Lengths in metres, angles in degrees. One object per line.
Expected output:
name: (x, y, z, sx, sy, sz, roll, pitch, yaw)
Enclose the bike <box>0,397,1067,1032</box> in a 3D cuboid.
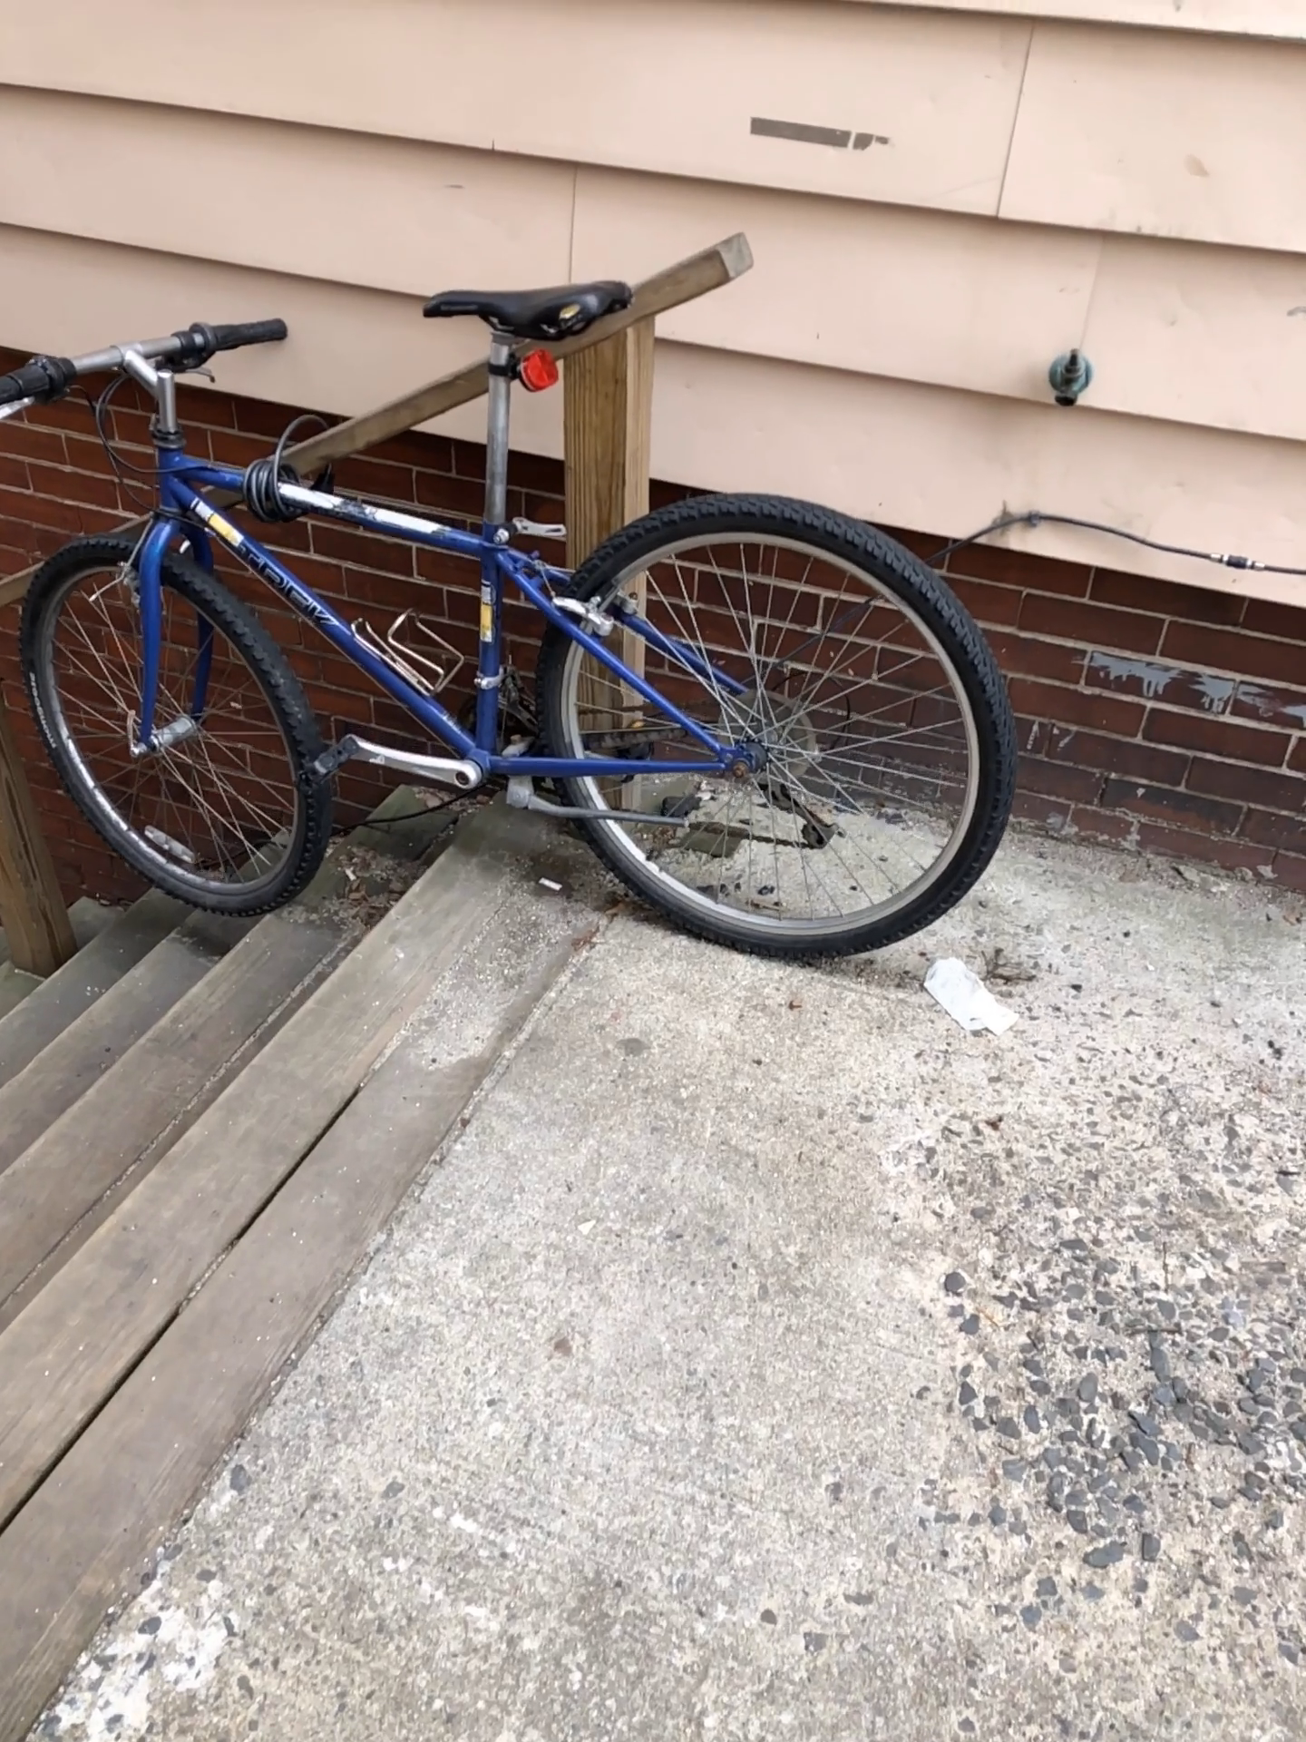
bike: (-0.218, -0.300, 2.115, 1.521, 0.619, 0.535, 8, 34, 23)
